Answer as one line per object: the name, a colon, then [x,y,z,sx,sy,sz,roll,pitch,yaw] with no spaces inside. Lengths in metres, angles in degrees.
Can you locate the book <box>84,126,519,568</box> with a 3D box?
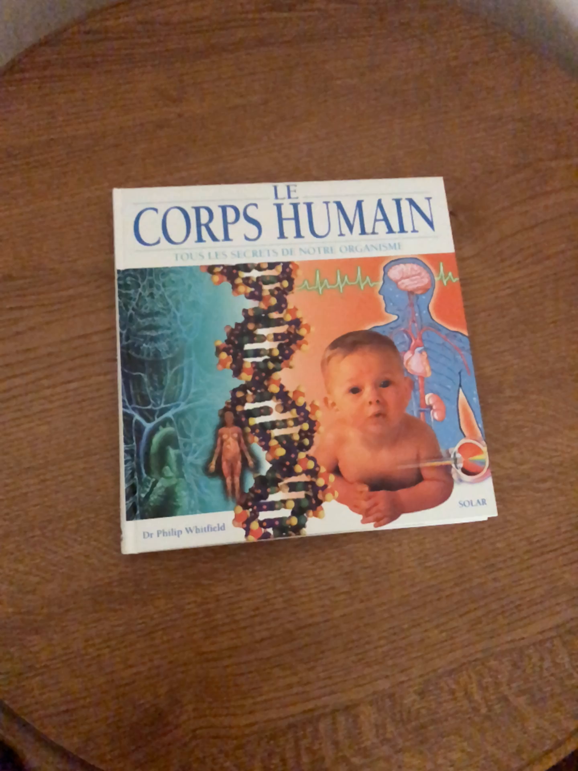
book: [0.003,-0.036,0.454,0.270,0.040,0.290,-5,80,-5]
